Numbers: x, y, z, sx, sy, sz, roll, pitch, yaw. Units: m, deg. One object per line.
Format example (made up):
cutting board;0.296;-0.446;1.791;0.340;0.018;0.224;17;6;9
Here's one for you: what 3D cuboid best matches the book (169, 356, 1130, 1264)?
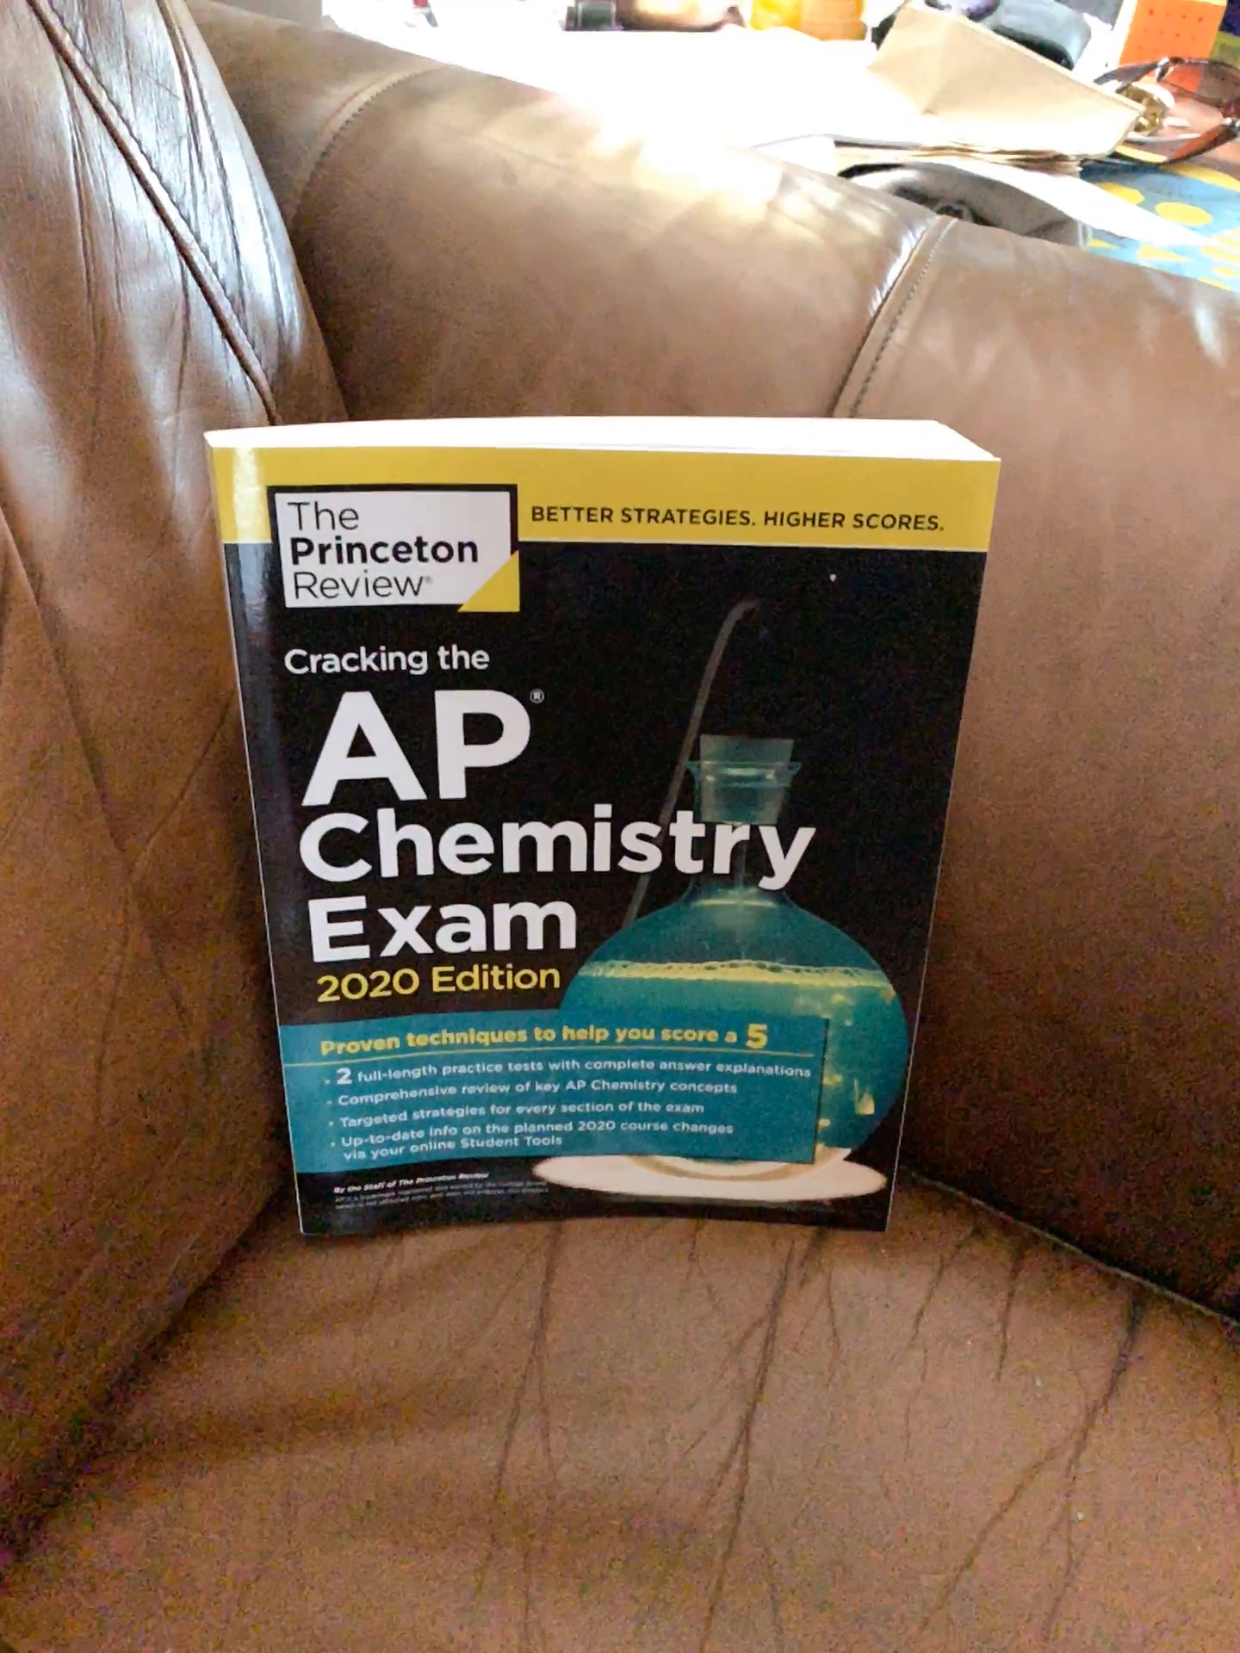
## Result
book;0.000;0.021;0.419;0.240;0.319;0.040;1;33;-5
